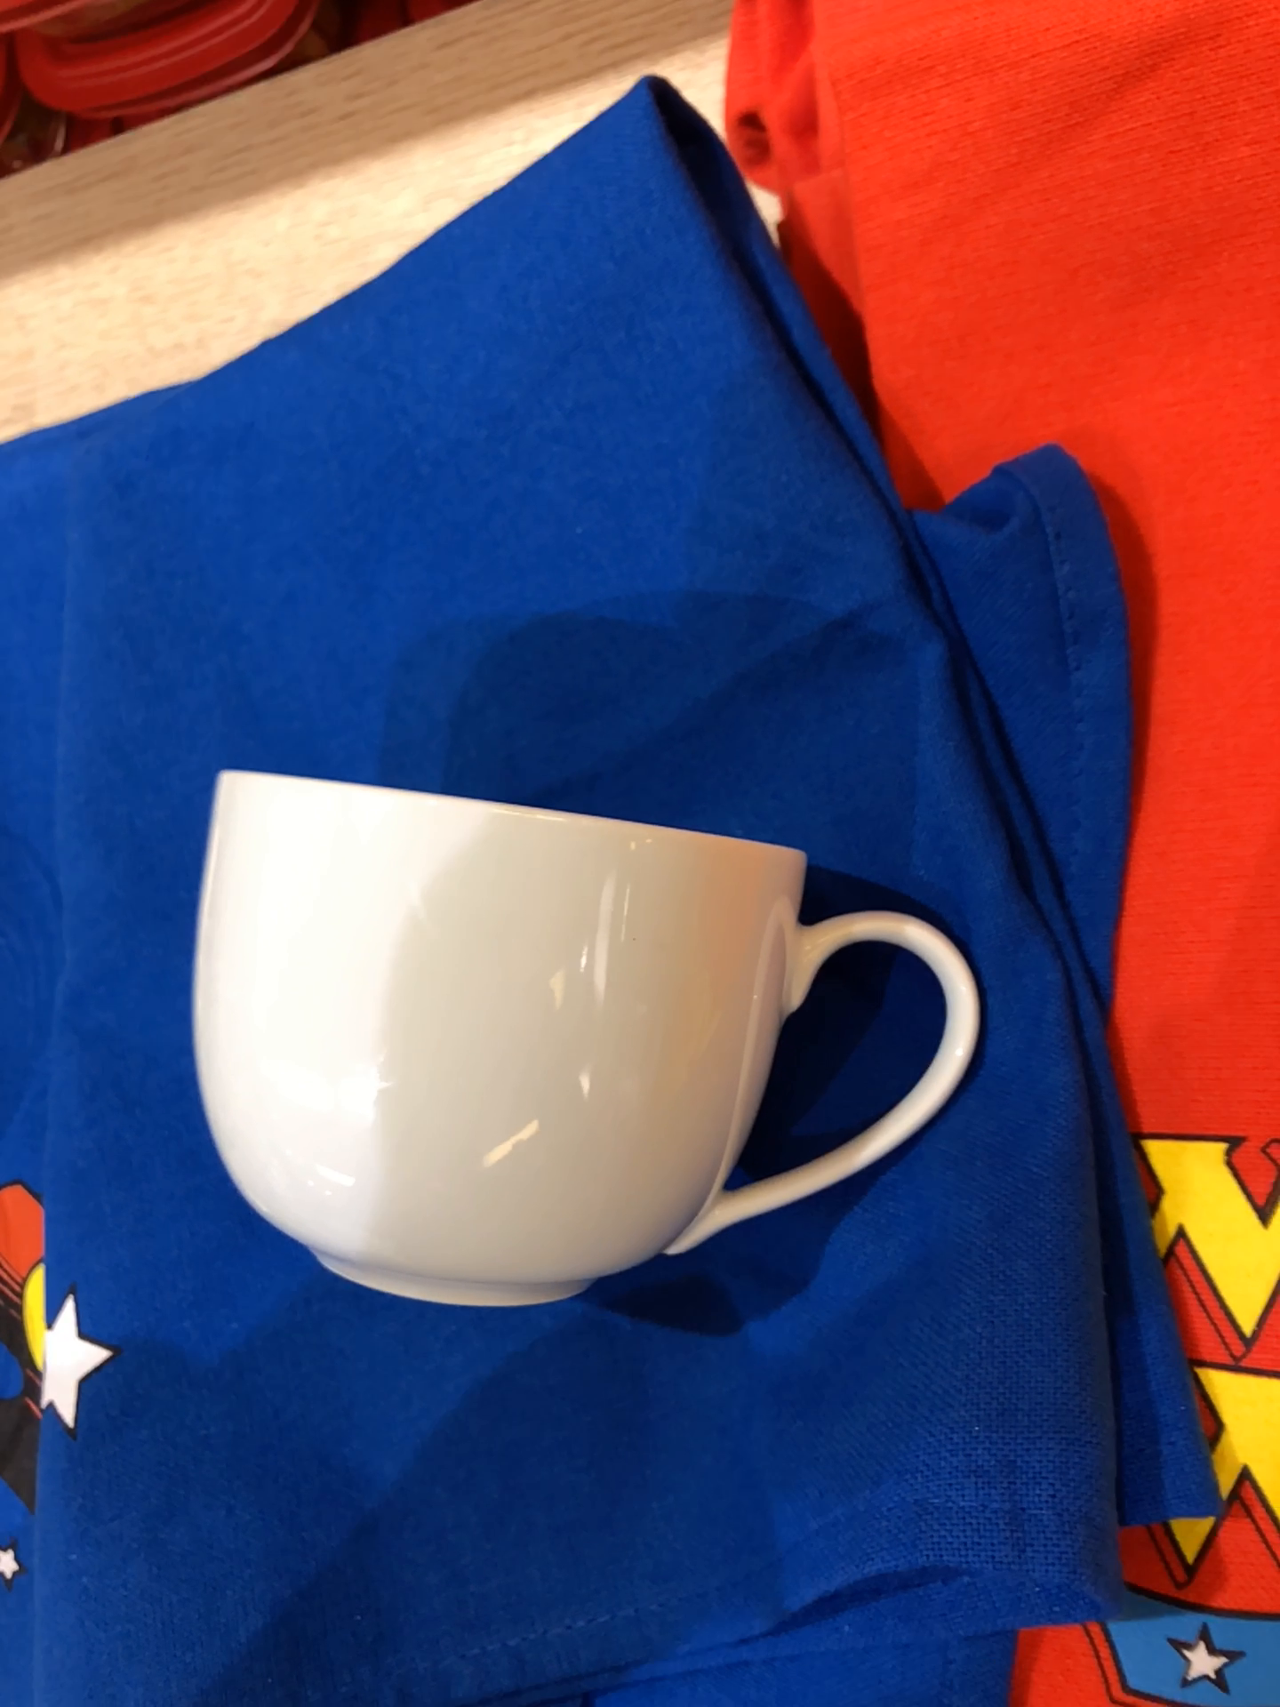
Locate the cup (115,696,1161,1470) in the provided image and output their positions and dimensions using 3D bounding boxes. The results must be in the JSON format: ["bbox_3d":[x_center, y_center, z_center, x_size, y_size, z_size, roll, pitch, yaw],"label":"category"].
[{"bbox_3d":[-0.003,0.031,0.233,0.130,0.080,0.090,8,92,-8],"label":"cup"}]
